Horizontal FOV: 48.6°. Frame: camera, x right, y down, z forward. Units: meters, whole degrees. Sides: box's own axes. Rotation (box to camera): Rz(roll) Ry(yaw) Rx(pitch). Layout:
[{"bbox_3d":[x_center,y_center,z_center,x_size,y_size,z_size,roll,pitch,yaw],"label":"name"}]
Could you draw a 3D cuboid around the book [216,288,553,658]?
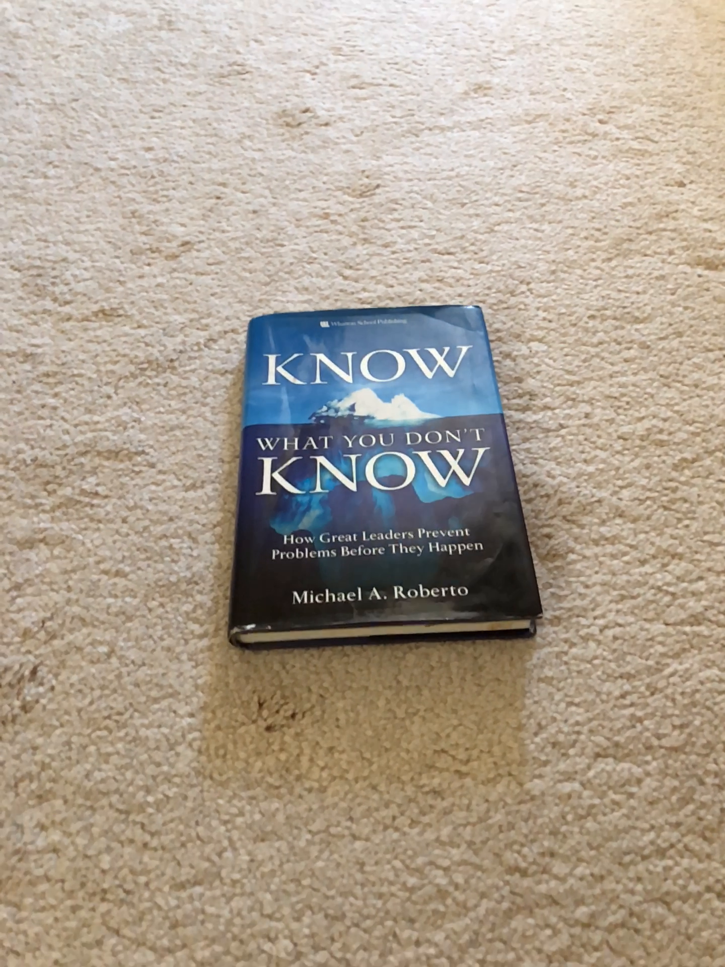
[{"bbox_3d":[0.006,-0.020,0.467,0.160,0.034,0.240,-2,53,-2],"label":"book"}]
